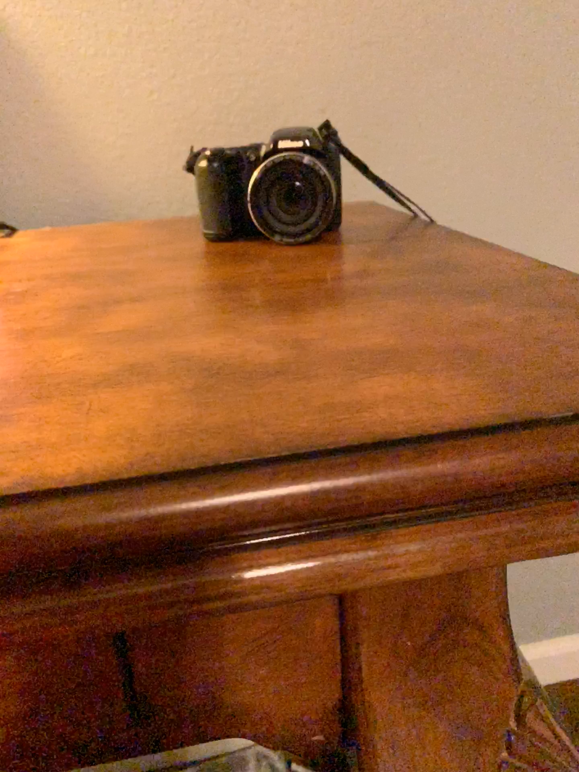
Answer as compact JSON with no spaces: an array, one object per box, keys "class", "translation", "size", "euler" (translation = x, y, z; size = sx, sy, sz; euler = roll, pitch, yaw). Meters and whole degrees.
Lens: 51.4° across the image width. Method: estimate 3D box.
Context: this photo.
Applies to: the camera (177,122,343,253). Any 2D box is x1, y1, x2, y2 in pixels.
[{"class":"camera","translation":[-0.014,-0.161,0.480],"size":[0.110,0.081,0.123],"euler":[-2,22,6]}]
